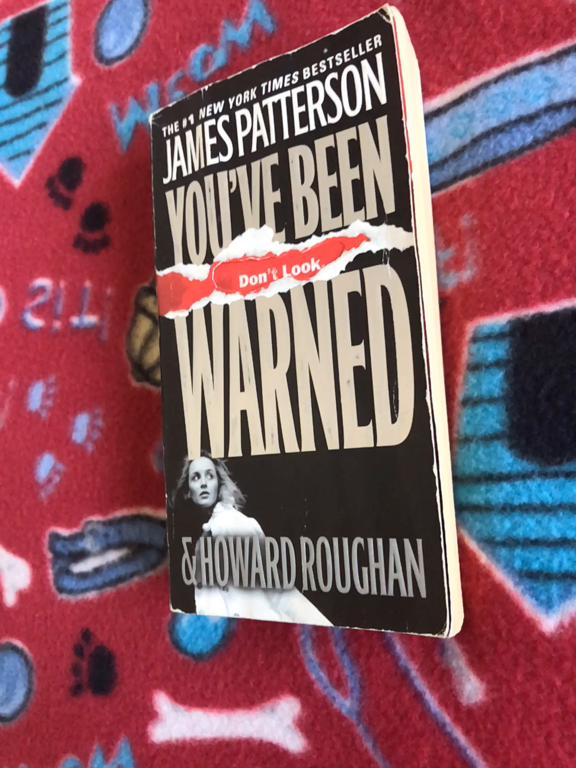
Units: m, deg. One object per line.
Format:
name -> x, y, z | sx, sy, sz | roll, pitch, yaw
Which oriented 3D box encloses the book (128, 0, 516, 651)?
book -> 0.007, -0.018, 0.221 | 0.110, 0.040, 0.190 | -7, 86, 30
